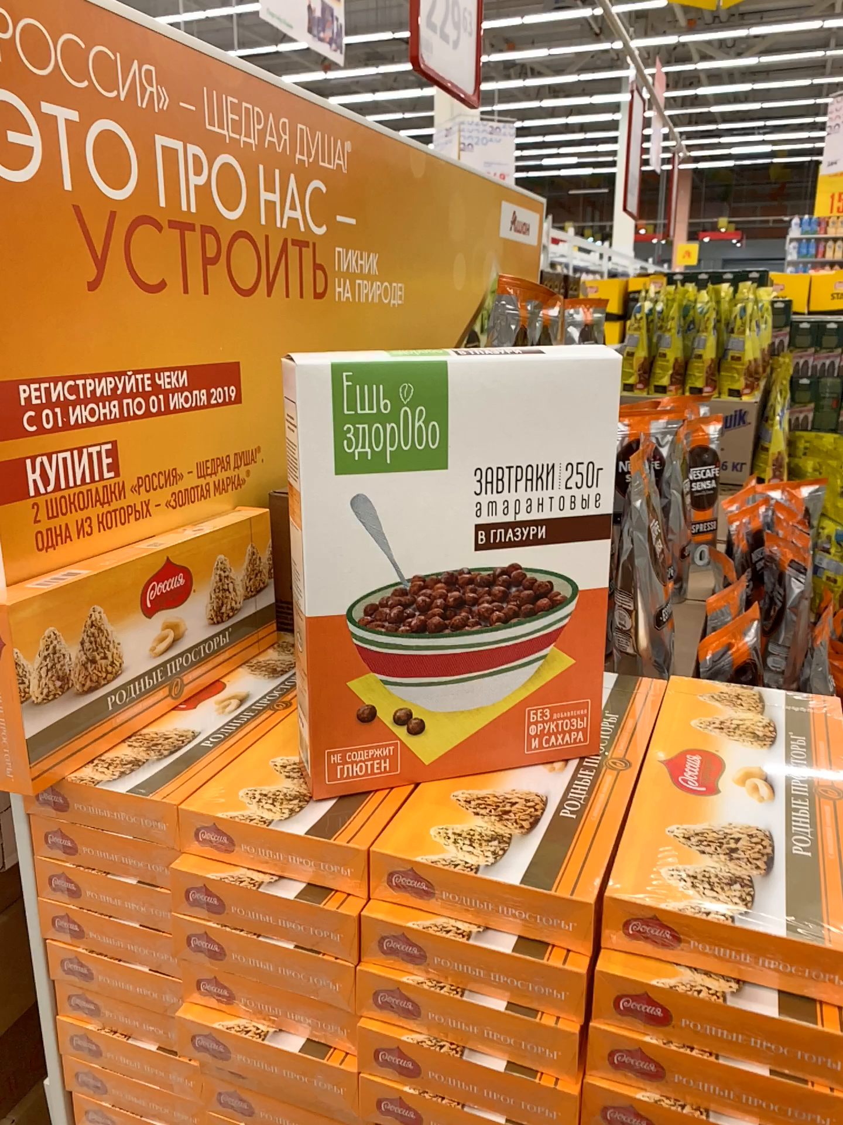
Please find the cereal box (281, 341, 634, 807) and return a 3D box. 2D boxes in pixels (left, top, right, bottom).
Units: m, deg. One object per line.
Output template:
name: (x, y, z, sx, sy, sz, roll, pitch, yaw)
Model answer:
cereal box: (0.020, 0.001, 0.524, 0.190, 0.259, 0.060, -5, 16, -17)
